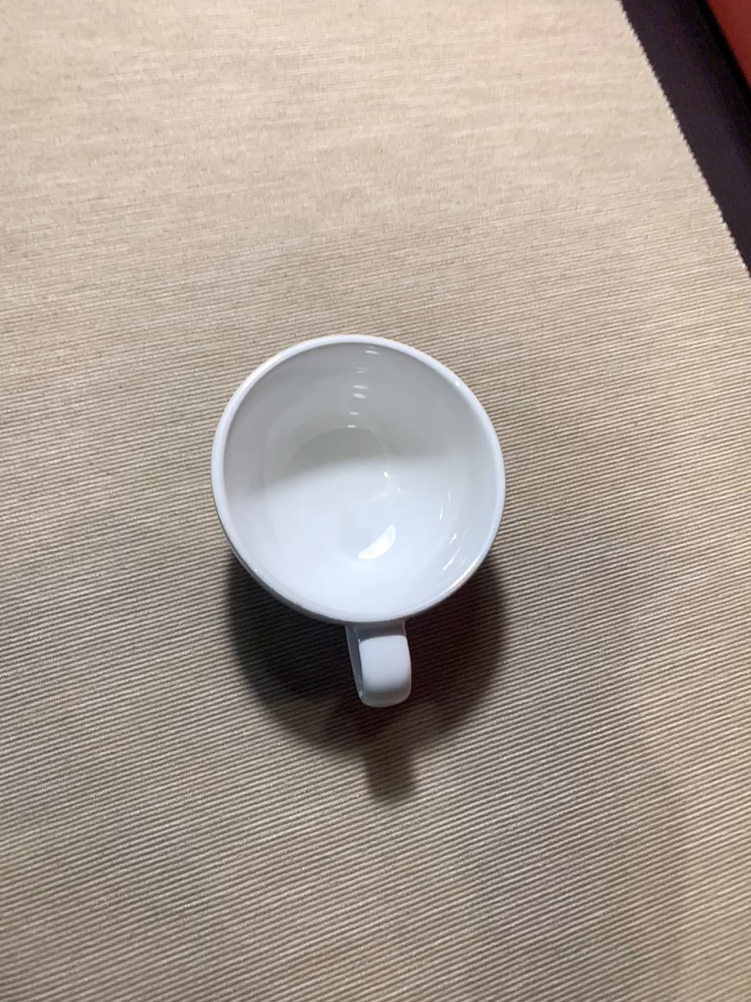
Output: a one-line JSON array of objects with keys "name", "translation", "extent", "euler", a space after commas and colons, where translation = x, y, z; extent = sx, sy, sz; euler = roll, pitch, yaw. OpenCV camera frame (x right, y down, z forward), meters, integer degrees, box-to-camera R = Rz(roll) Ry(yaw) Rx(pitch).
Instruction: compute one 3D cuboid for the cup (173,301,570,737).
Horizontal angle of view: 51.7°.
[{"name": "cup", "translation": [-0.007, 0.007, 0.236], "extent": [0.090, 0.060, 0.110], "euler": [-7, 74, -10]}]
